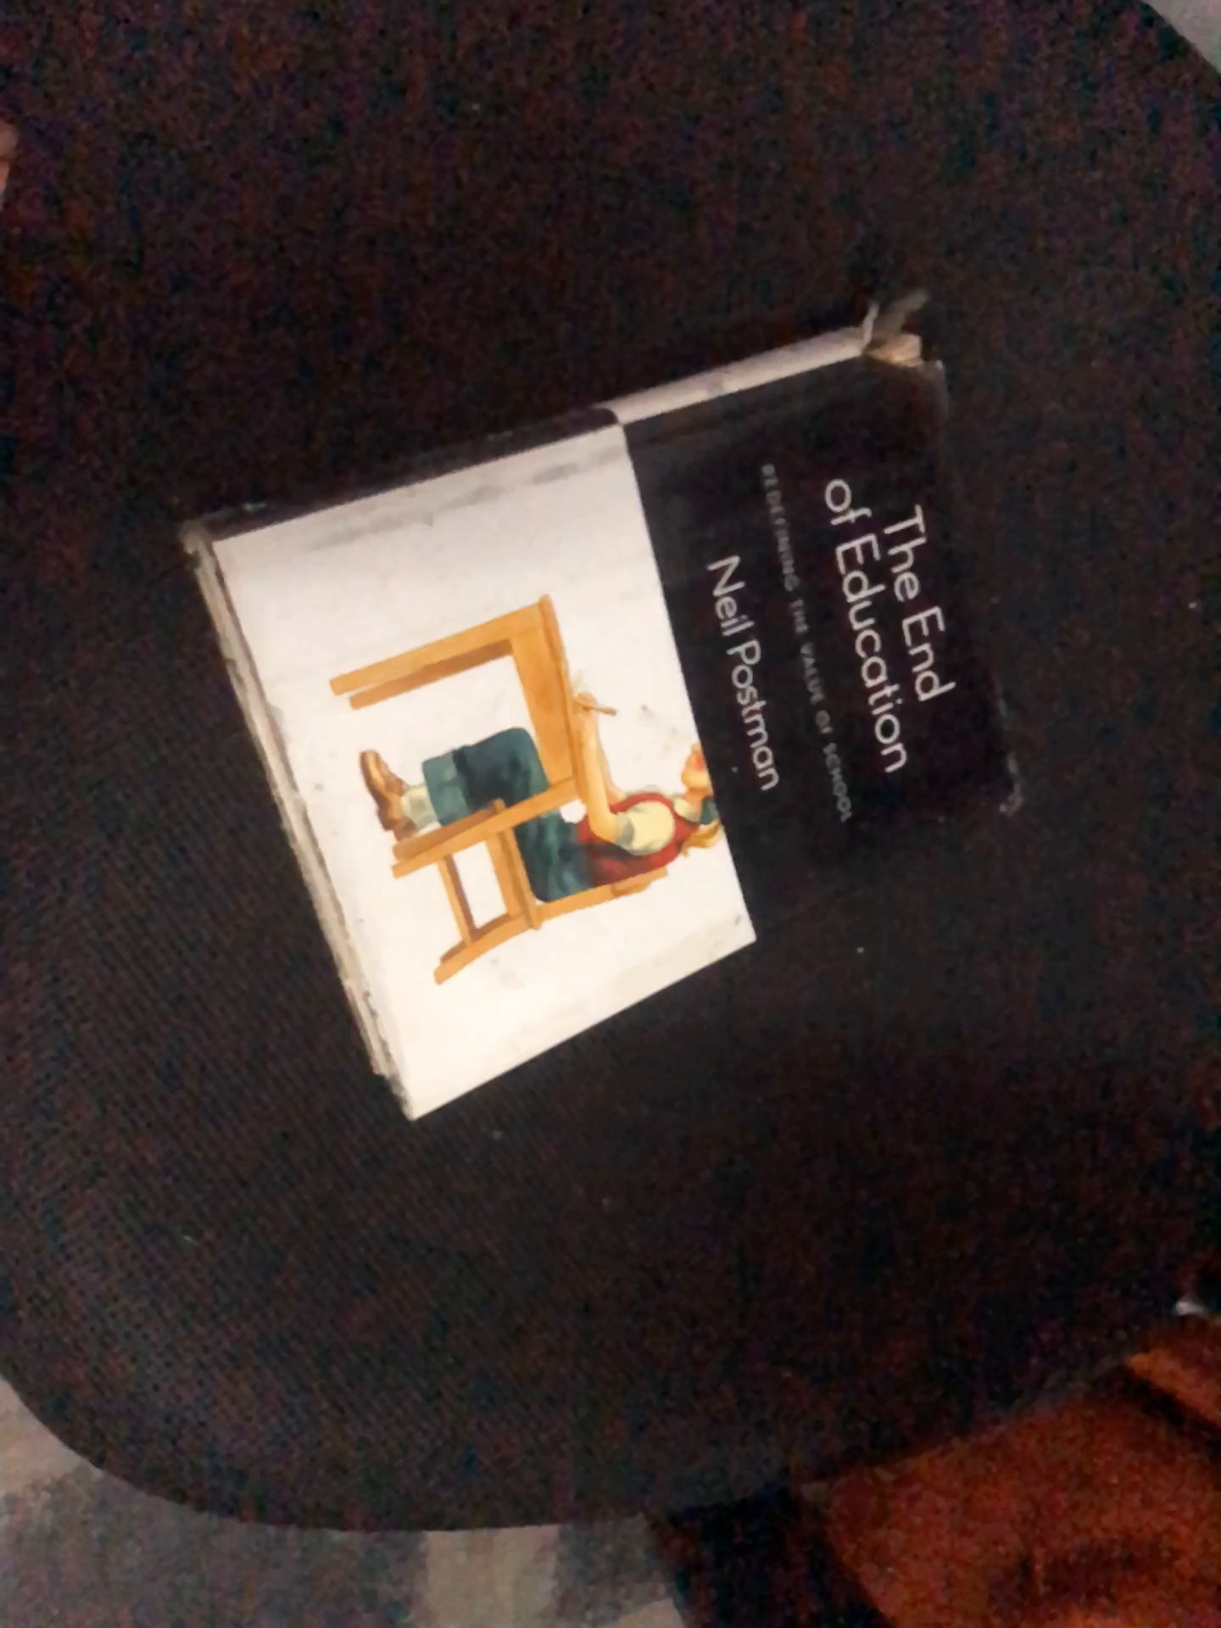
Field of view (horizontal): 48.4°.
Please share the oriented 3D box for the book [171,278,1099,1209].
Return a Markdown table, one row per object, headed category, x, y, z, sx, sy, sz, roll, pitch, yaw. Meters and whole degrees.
| category | x | y | z | sx | sy | sz | roll | pitch | yaw |
| --- | --- | --- | --- | --- | --- | --- | --- | --- | --- |
| book | 0.031 | -0.031 | 0.384 | 0.251 | 0.030 | 0.180 | -24 | 110 | -27 |
